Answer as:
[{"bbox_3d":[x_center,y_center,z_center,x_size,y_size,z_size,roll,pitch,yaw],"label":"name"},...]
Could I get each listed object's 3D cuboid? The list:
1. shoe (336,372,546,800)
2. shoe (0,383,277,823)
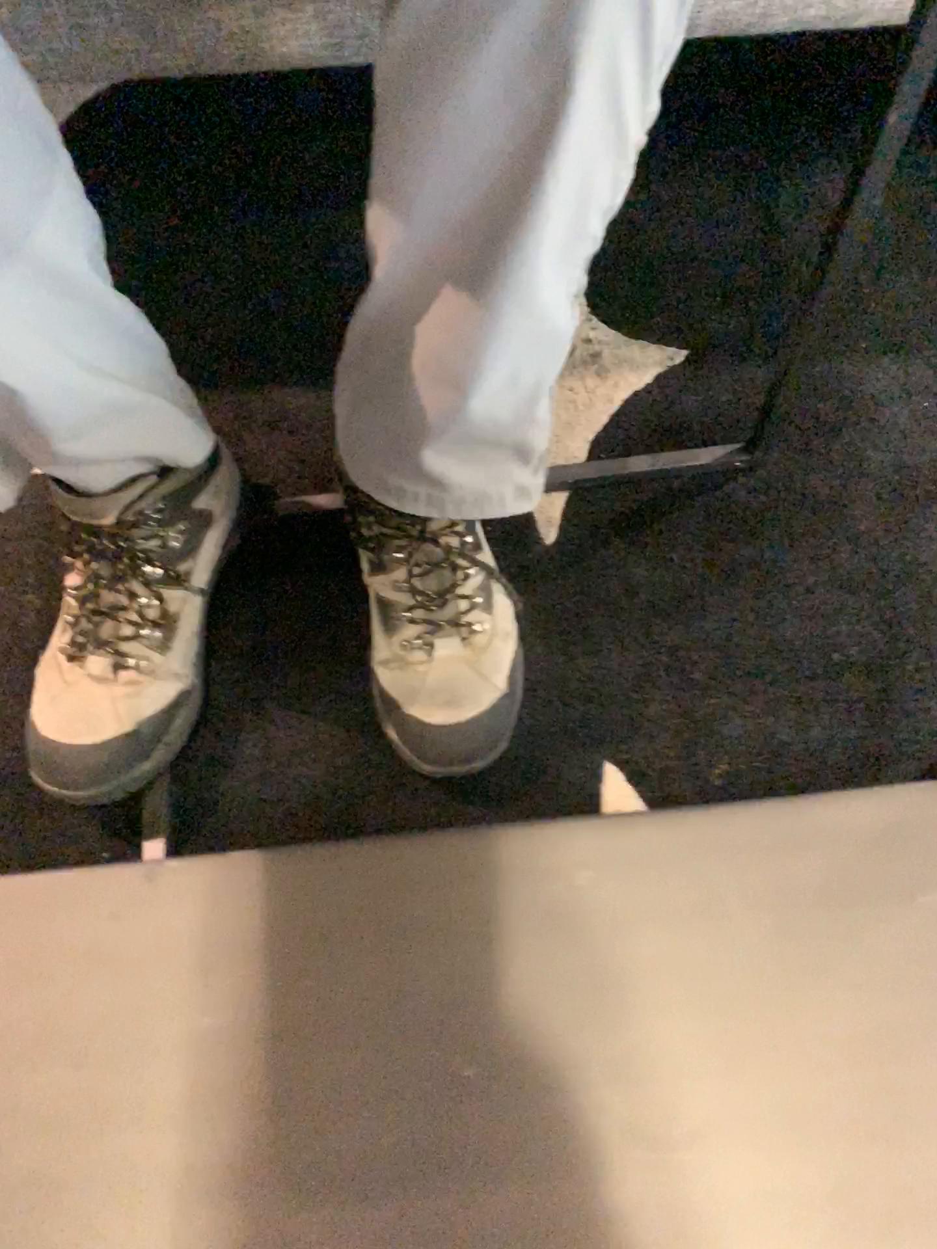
[{"bbox_3d":[-0.025,-0.035,0.709,0.121,0.080,0.304,-6,66,-1],"label":"shoe"},{"bbox_3d":[-0.244,-0.018,0.679,0.123,0.090,0.285,9,70,7],"label":"shoe"}]
